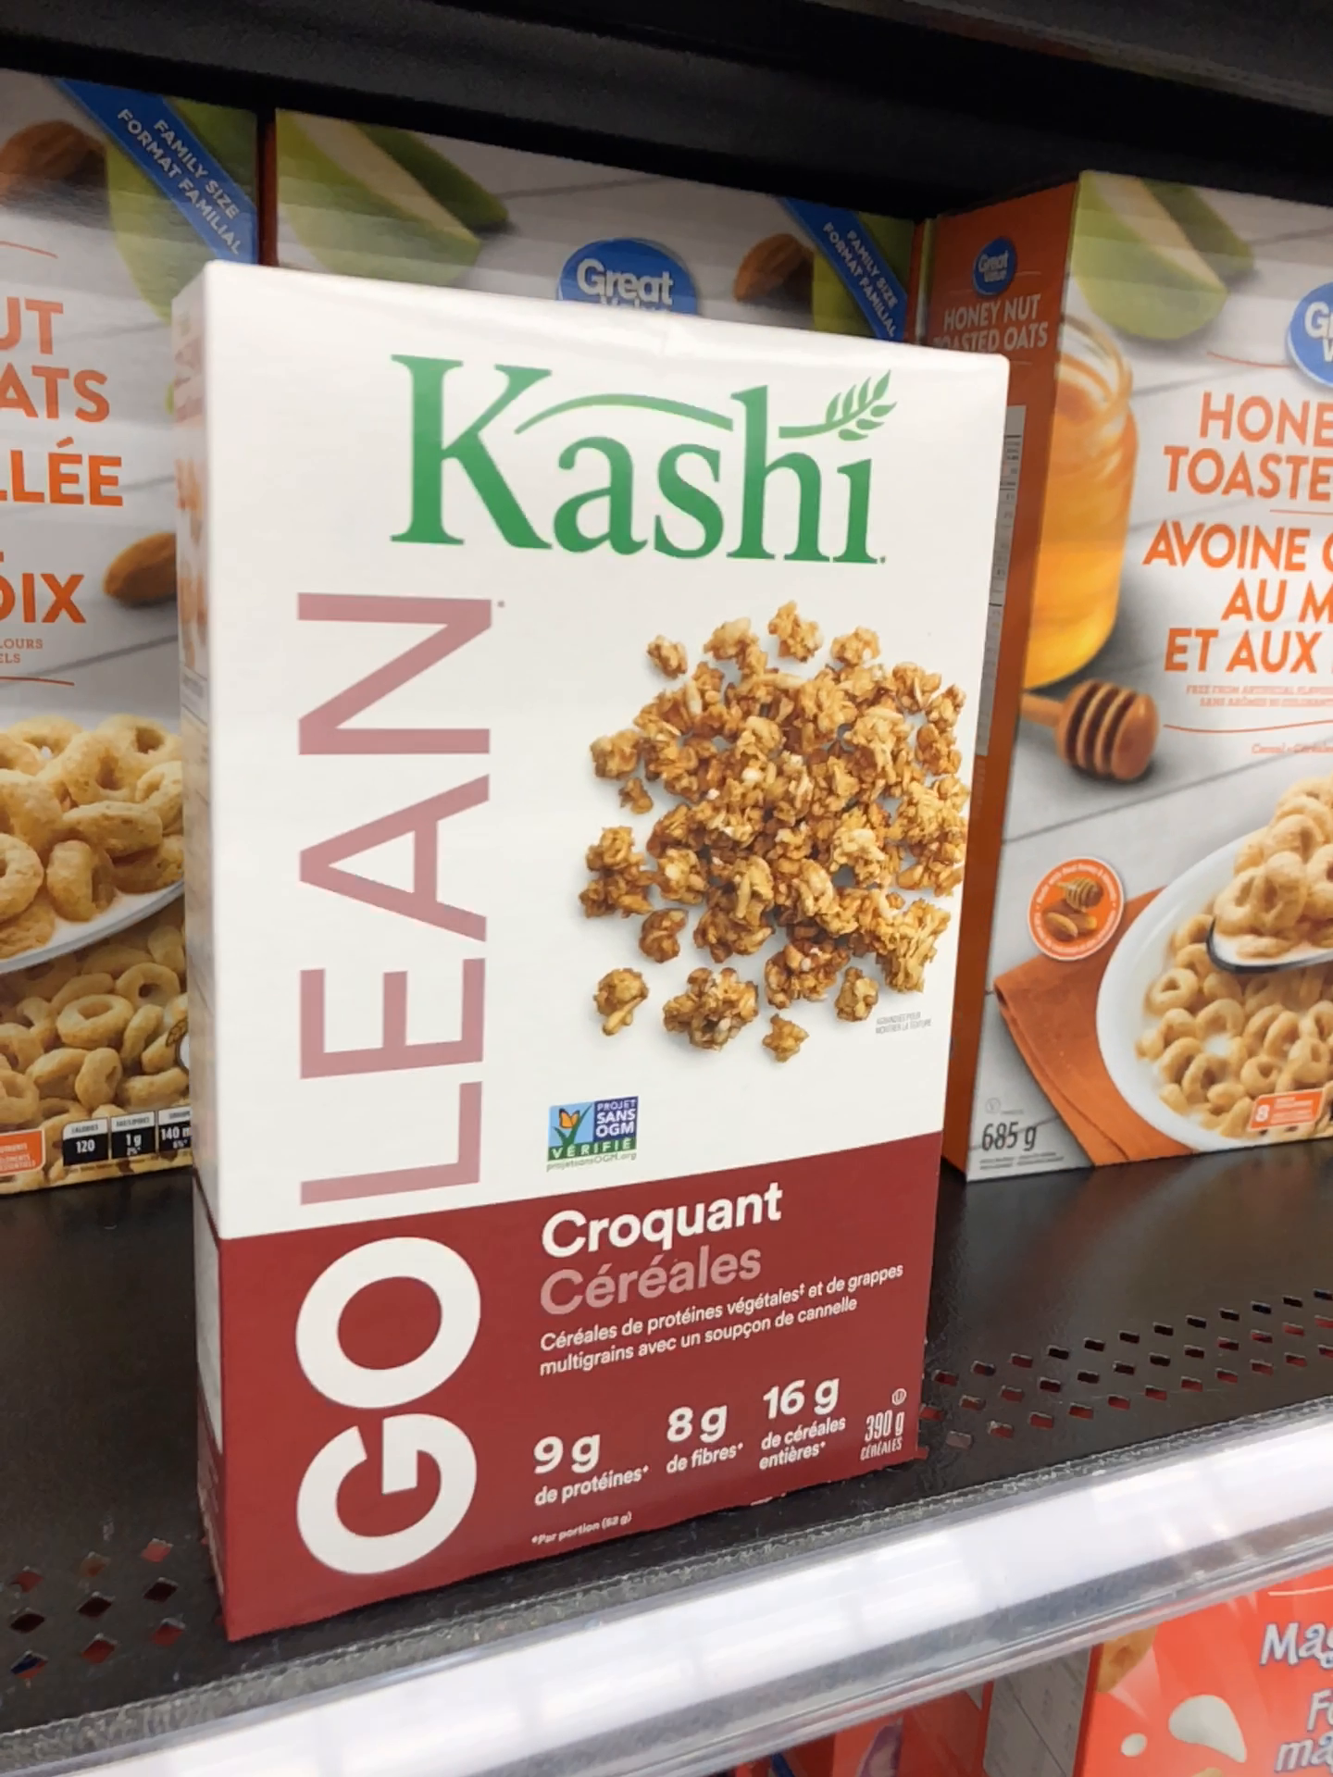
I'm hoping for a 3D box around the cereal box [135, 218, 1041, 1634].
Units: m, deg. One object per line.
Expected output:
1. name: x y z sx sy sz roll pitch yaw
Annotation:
1. cereal box: -0.018 0.010 0.318 0.170 0.259 0.050 -3 15 -25
